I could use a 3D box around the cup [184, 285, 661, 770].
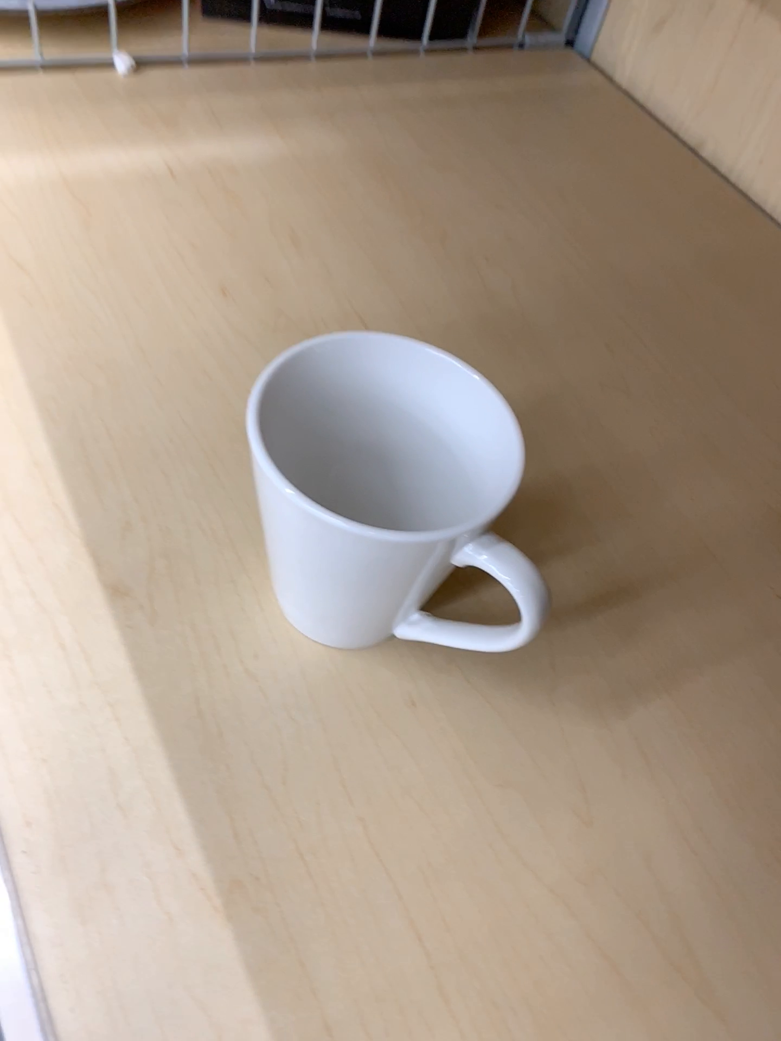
[{"bbox_3d":[0.006,0.001,0.301,0.129,0.090,0.094,37,57,15],"label":"cup"}]
